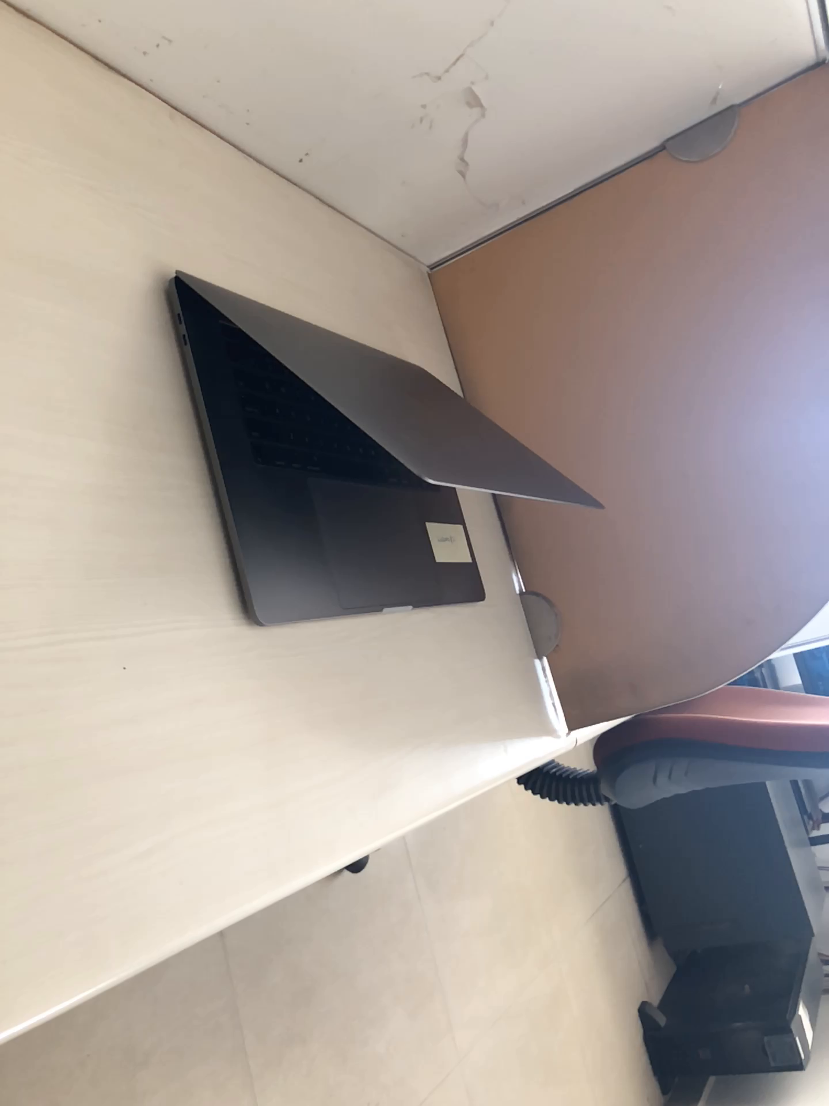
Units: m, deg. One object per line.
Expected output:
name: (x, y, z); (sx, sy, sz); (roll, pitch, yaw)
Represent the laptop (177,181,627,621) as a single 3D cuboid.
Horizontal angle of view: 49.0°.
laptop: (0.014, -0.087, 0.686); (0.331, 0.134, 0.233); (2, 69, -62)
